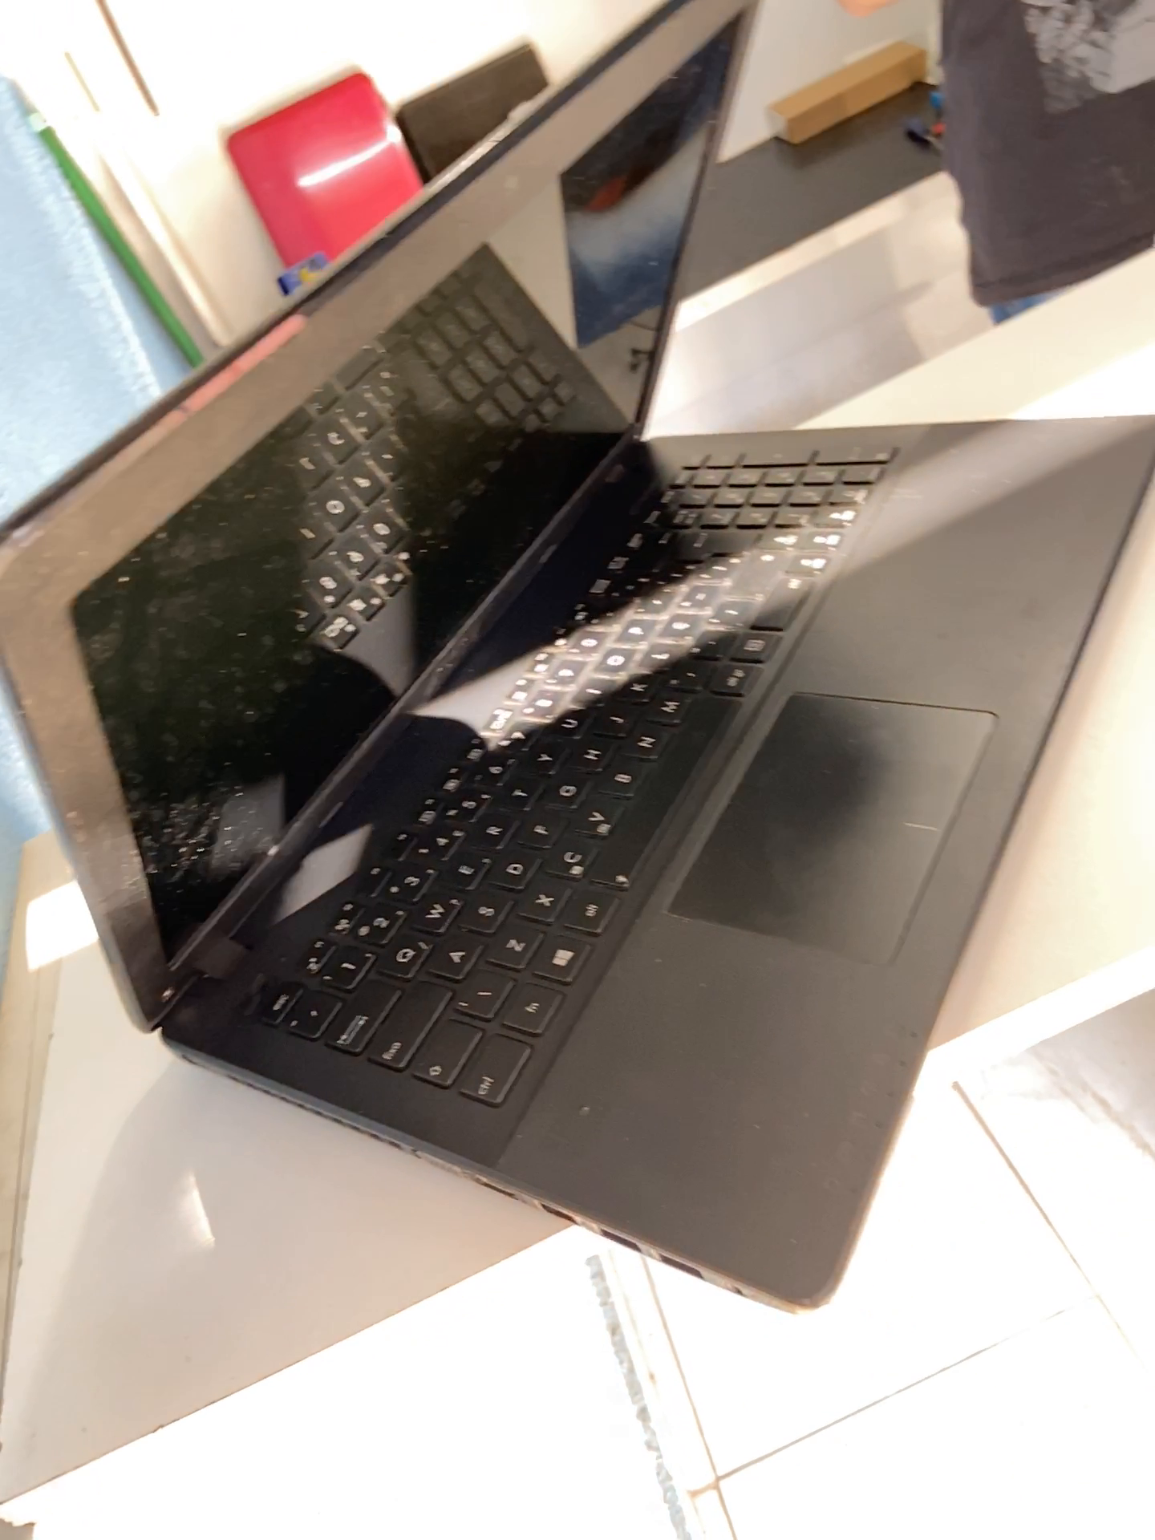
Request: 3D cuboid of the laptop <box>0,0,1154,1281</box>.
[{"bbox_3d":[0.006,-0.094,0.387,0.239,0.190,0.374,8,49,36],"label":"laptop"}]
